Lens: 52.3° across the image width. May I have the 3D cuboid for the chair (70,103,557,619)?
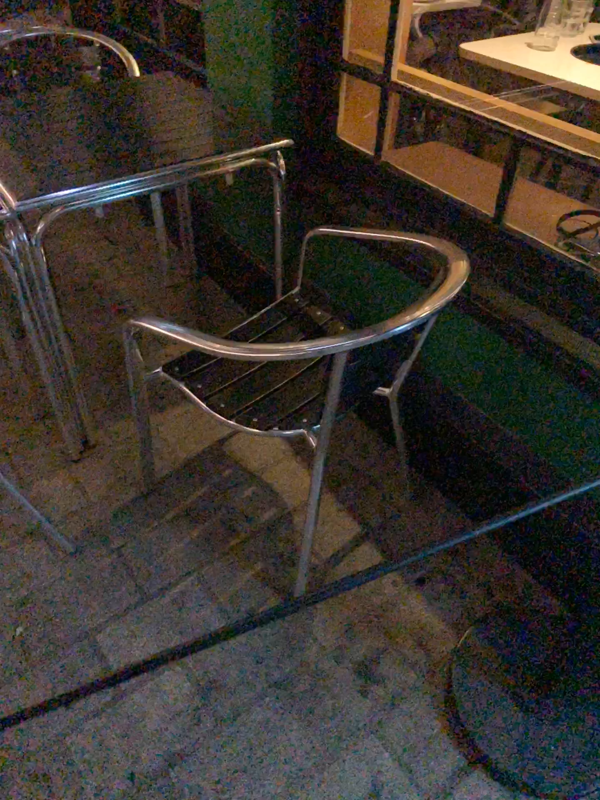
[{"bbox_3d":[0.025,-0.126,1.423,0.653,0.782,0.663,33,50,29],"label":"chair"}]
